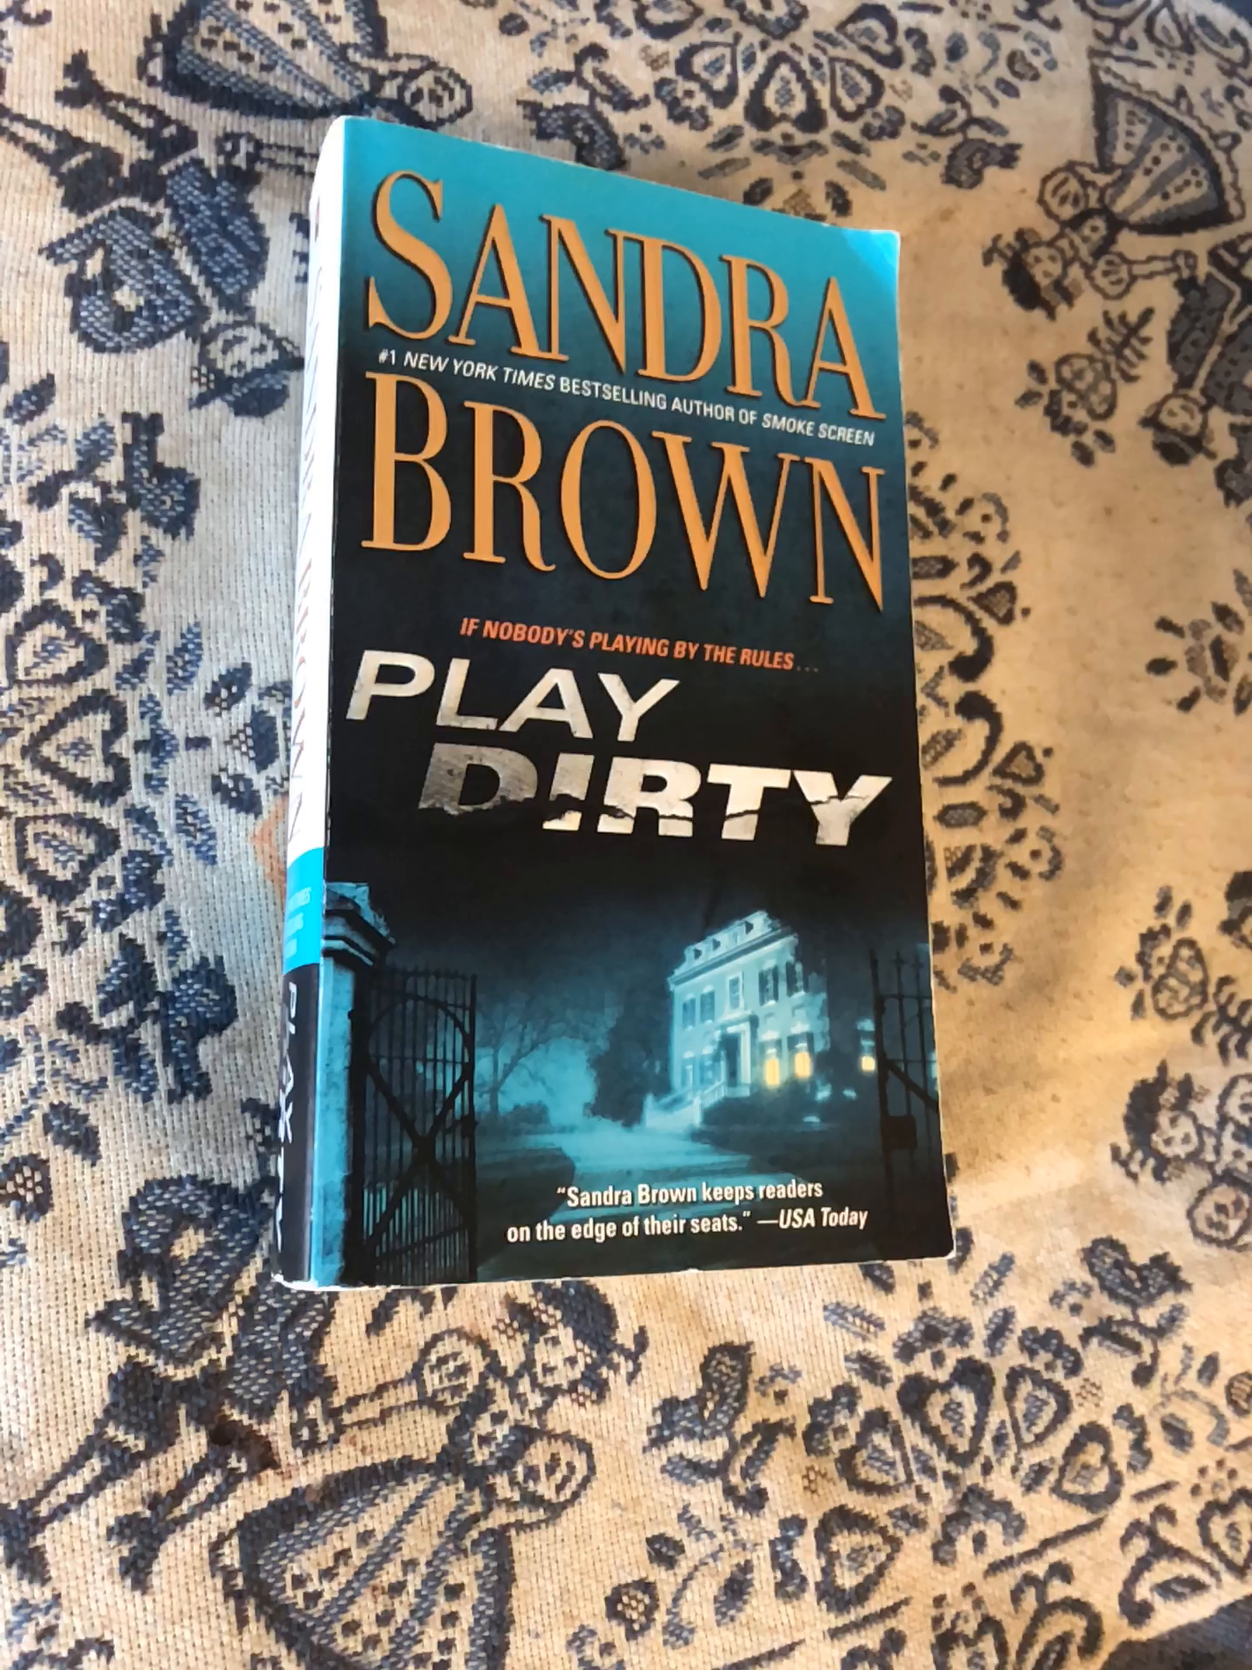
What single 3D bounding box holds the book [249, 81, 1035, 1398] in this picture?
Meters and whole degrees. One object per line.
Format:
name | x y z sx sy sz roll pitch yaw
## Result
book | 0.001 -0.014 0.223 0.110 0.040 0.180 3 80 -20
